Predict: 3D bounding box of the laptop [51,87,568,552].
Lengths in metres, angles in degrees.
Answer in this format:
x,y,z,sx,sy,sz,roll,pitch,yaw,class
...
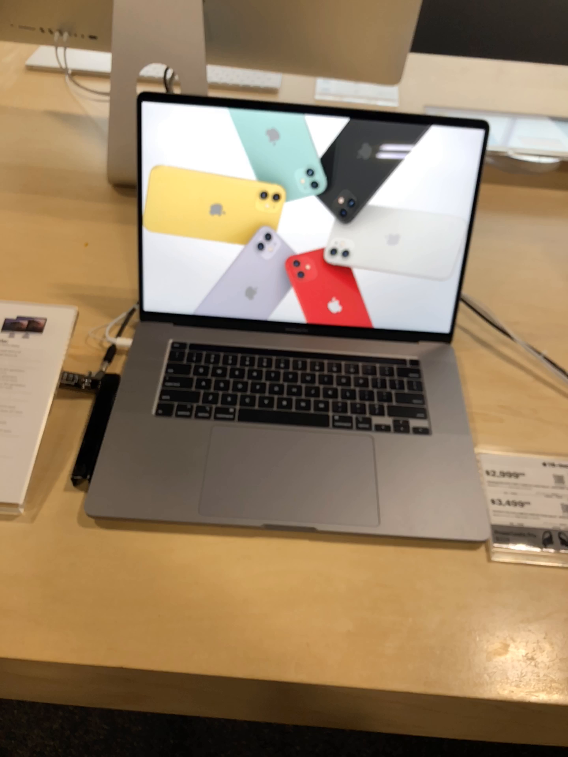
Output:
x,y,z,sx,sy,sz,roll,pitch,yaw,class
0.017,-0.072,0.586,0.335,0.204,0.350,5,49,1,laptop
